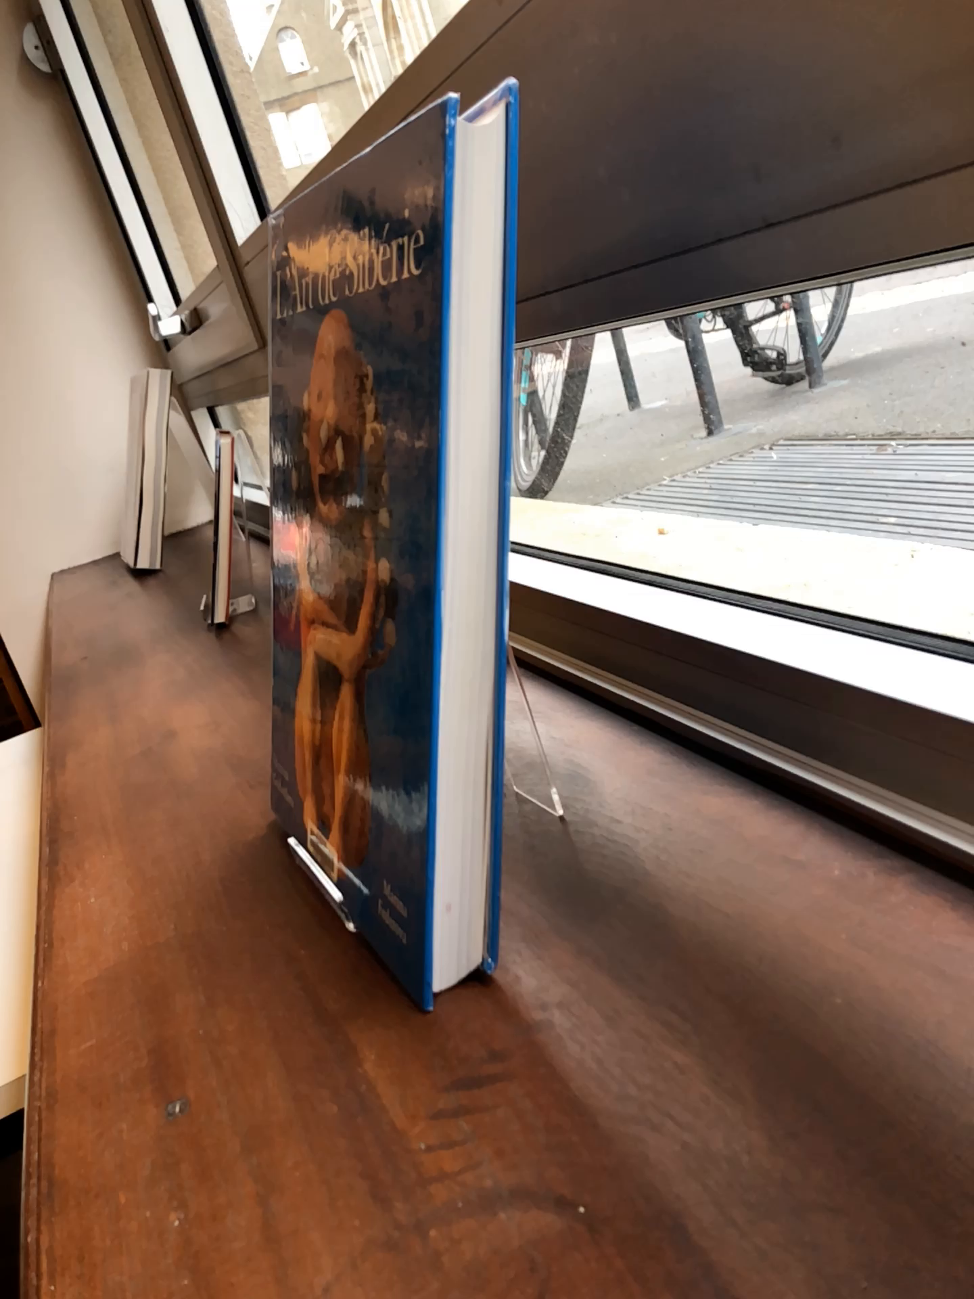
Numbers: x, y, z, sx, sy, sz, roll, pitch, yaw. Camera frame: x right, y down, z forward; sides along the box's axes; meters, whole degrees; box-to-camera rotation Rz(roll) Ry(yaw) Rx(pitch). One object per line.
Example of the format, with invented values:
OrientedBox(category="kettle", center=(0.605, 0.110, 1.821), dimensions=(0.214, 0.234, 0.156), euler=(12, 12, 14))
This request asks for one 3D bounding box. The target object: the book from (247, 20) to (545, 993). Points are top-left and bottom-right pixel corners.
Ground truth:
OrientedBox(category="book", center=(-0.055, -0.061, 0.507), dimensions=(0.044, 0.349, 0.254), euler=(-5, 12, -25))
